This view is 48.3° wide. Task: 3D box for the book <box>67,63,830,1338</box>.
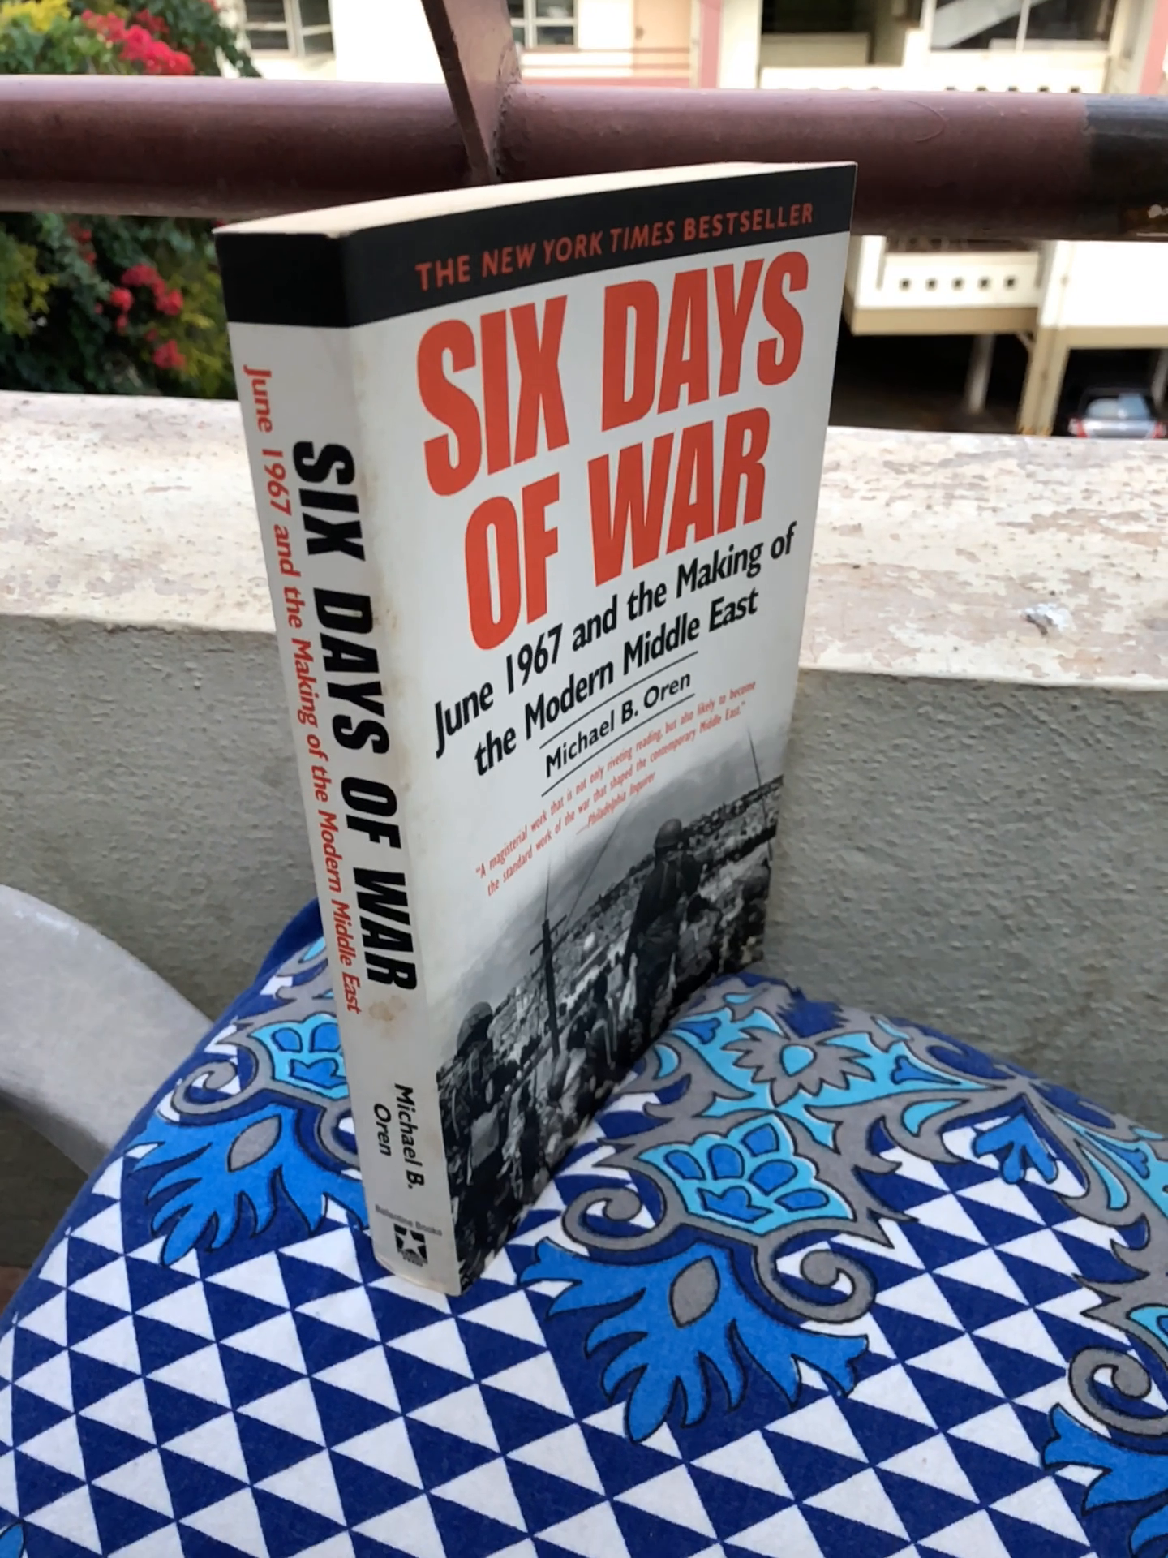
[{"bbox_3d":[-0.003,-0.022,0.316,0.050,0.249,0.181,16,38,27],"label":"book"}]
